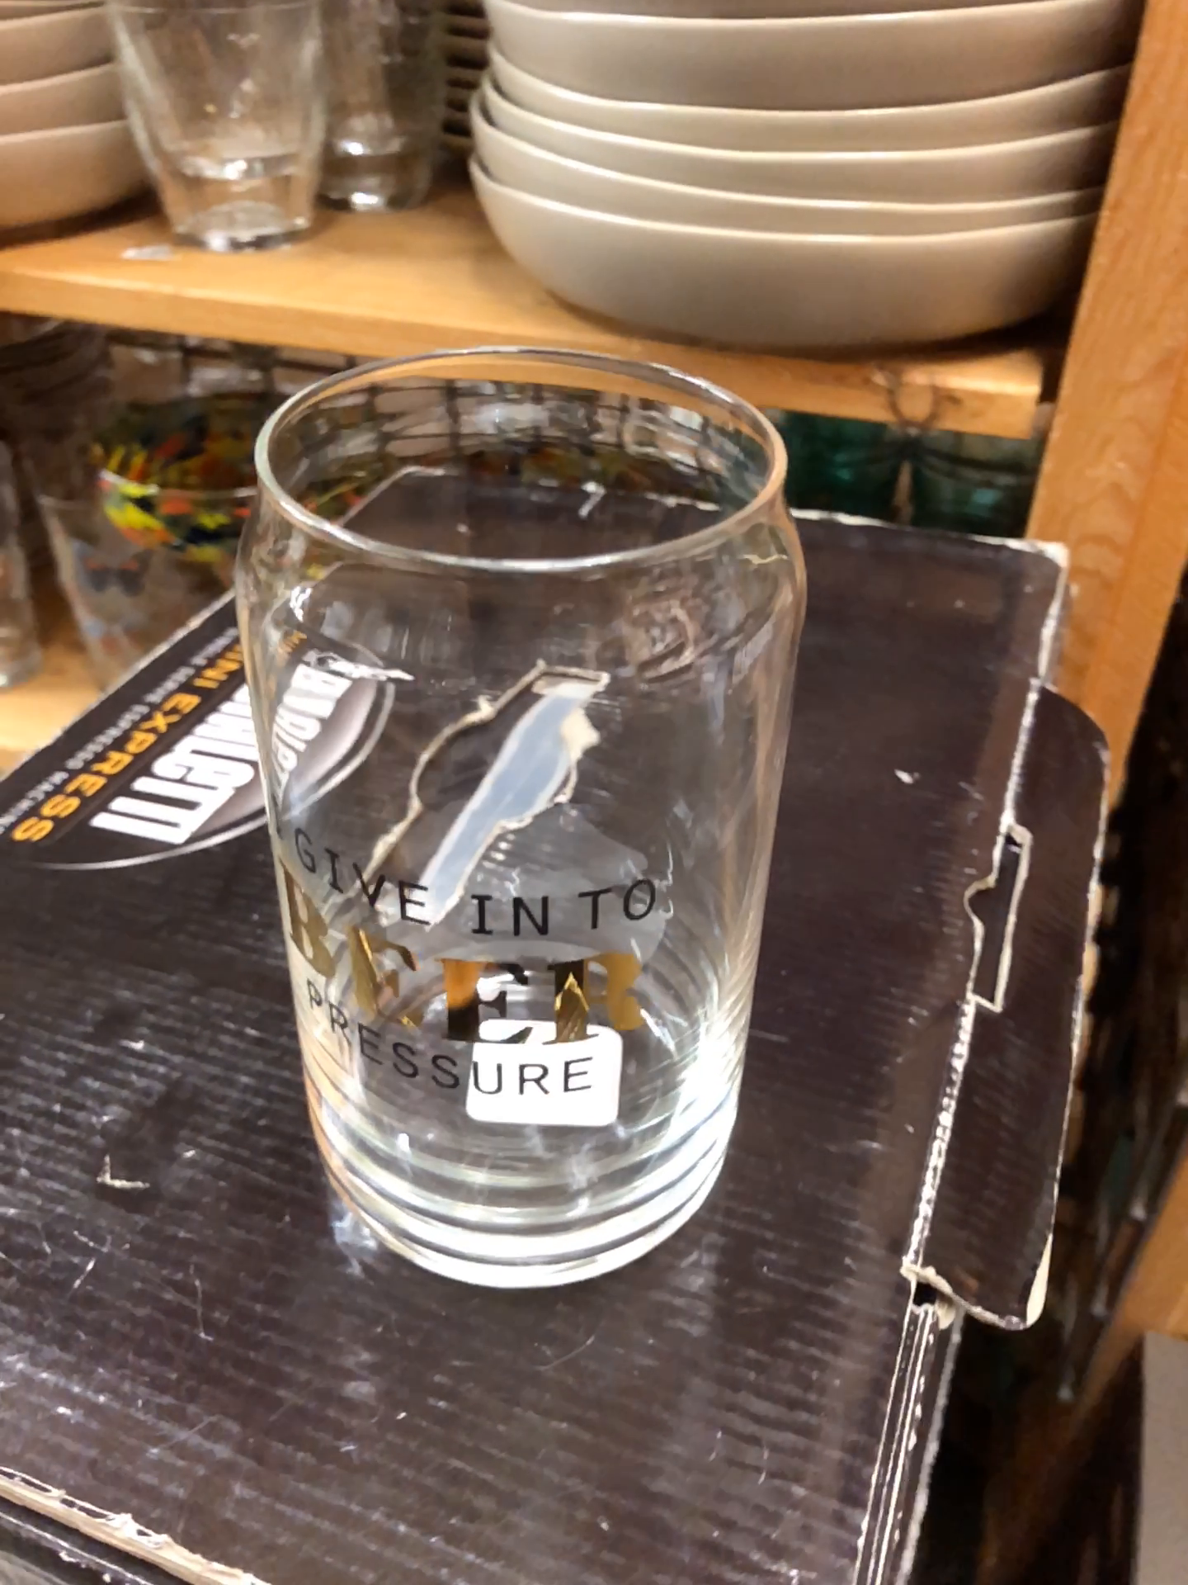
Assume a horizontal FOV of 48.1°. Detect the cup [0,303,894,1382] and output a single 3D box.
[{"bbox_3d":[-0.012,0.003,0.198,0.081,0.116,0.088,1,36,-1],"label":"cup"}]
